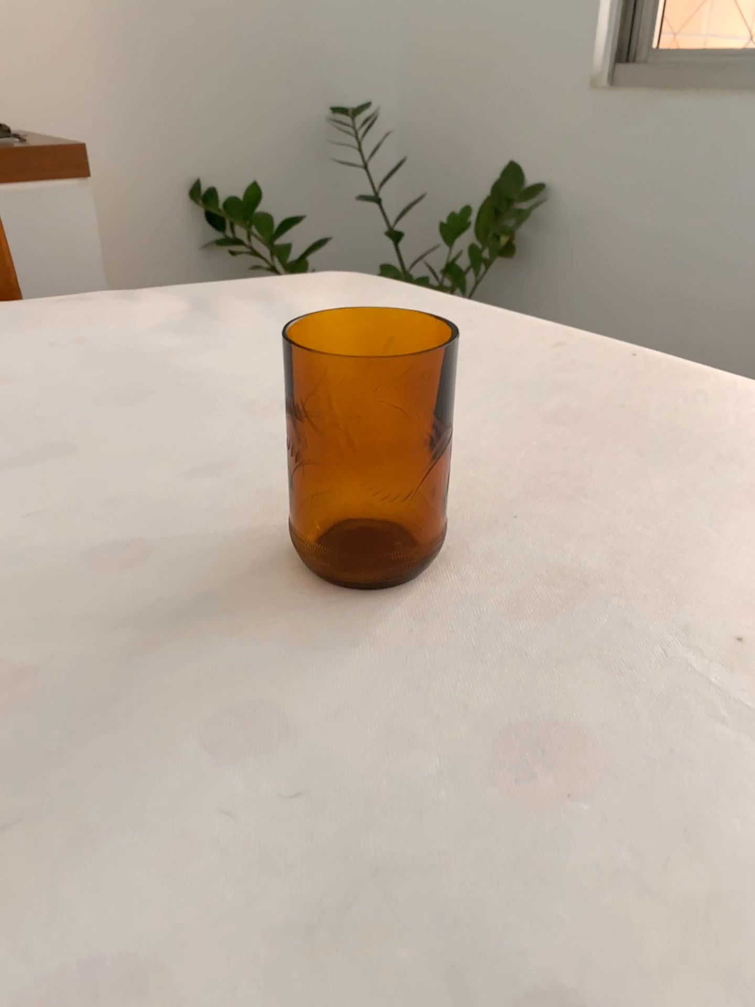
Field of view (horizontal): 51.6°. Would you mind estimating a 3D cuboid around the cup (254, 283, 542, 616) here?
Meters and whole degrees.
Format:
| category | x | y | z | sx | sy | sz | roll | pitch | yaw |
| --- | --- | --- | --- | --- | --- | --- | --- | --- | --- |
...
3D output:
| category | x | y | z | sx | sy | sz | roll | pitch | yaw |
| --- | --- | --- | --- | --- | --- | --- | --- | --- | --- |
| cup | 0.006 | -0.025 | 0.288 | 0.070 | 0.089 | 0.070 | 1 | 28 | 0 |
